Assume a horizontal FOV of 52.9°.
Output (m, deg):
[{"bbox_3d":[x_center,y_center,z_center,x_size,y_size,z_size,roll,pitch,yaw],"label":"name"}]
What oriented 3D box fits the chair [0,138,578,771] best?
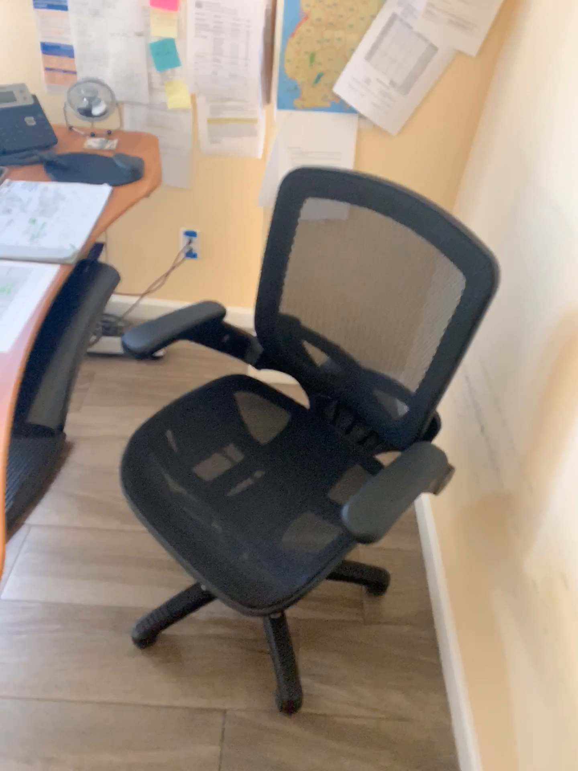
[{"bbox_3d":[-0.012,0.113,1.213,0.640,0.869,0.775,34,49,25],"label":"chair"}]
